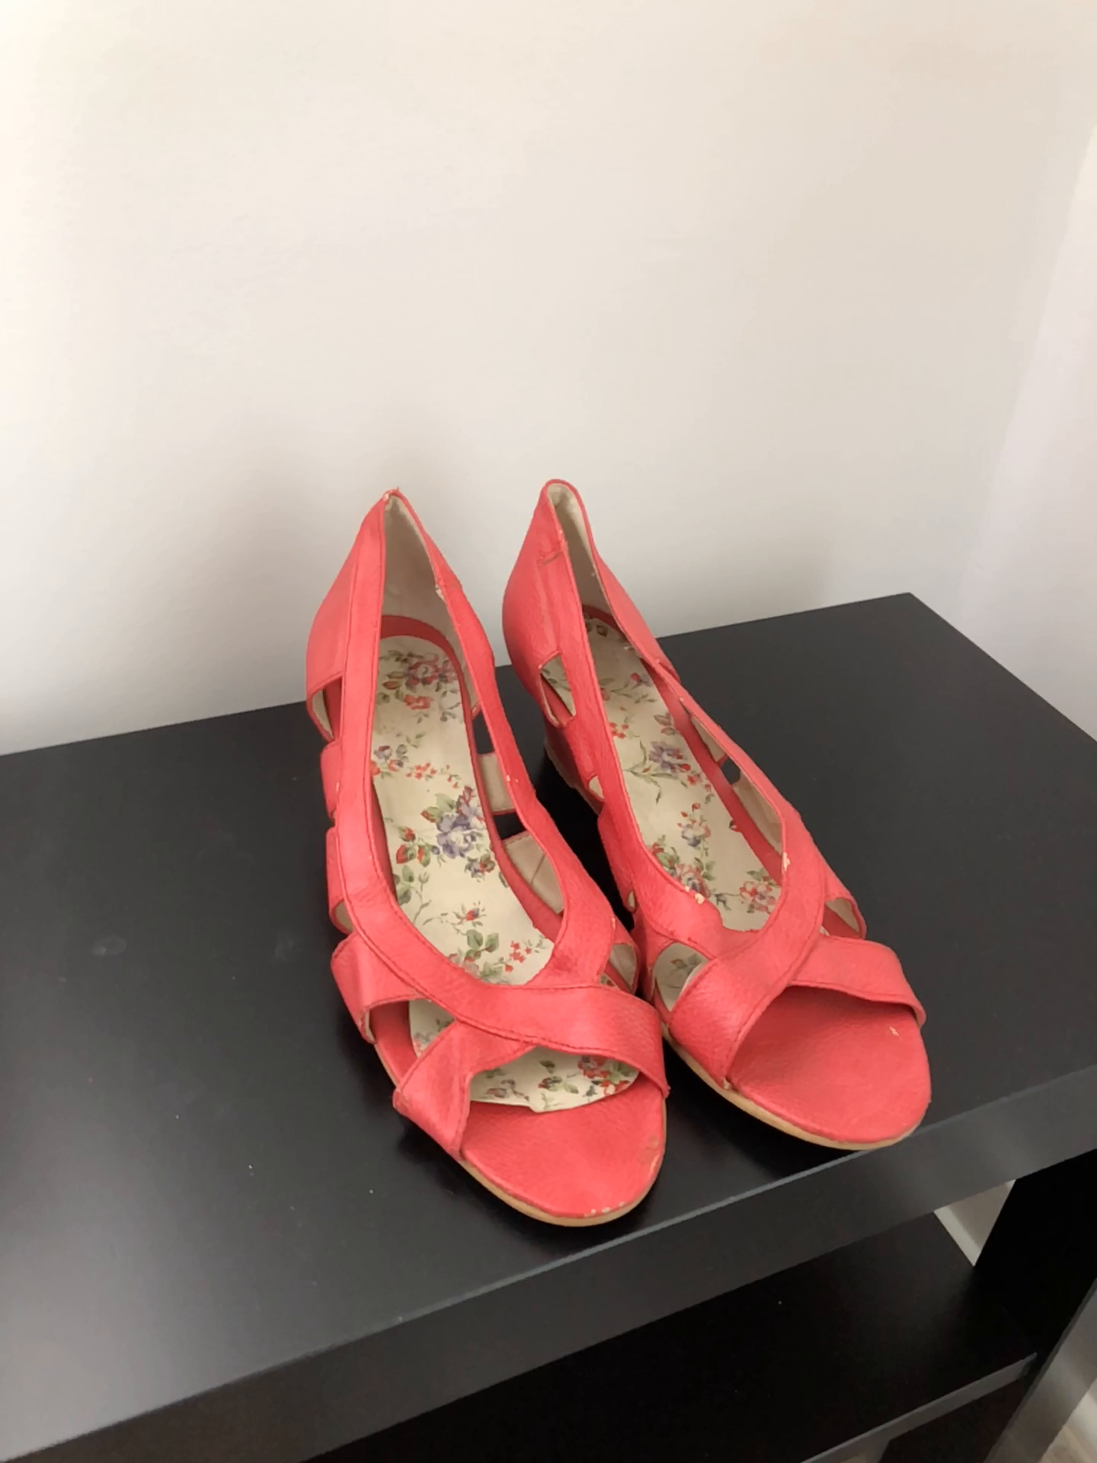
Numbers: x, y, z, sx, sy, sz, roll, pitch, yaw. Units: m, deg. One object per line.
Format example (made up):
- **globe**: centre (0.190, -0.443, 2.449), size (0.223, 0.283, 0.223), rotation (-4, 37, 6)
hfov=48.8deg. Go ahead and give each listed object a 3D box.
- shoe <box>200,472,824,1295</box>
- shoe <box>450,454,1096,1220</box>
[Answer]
- **shoe**: centre (-0.029, 0.021, 0.349), size (0.087, 0.100, 0.221), rotation (-12, 39, -21)
- **shoe**: centre (0.047, 0.011, 0.373), size (0.077, 0.100, 0.231), rotation (-12, 39, -21)
